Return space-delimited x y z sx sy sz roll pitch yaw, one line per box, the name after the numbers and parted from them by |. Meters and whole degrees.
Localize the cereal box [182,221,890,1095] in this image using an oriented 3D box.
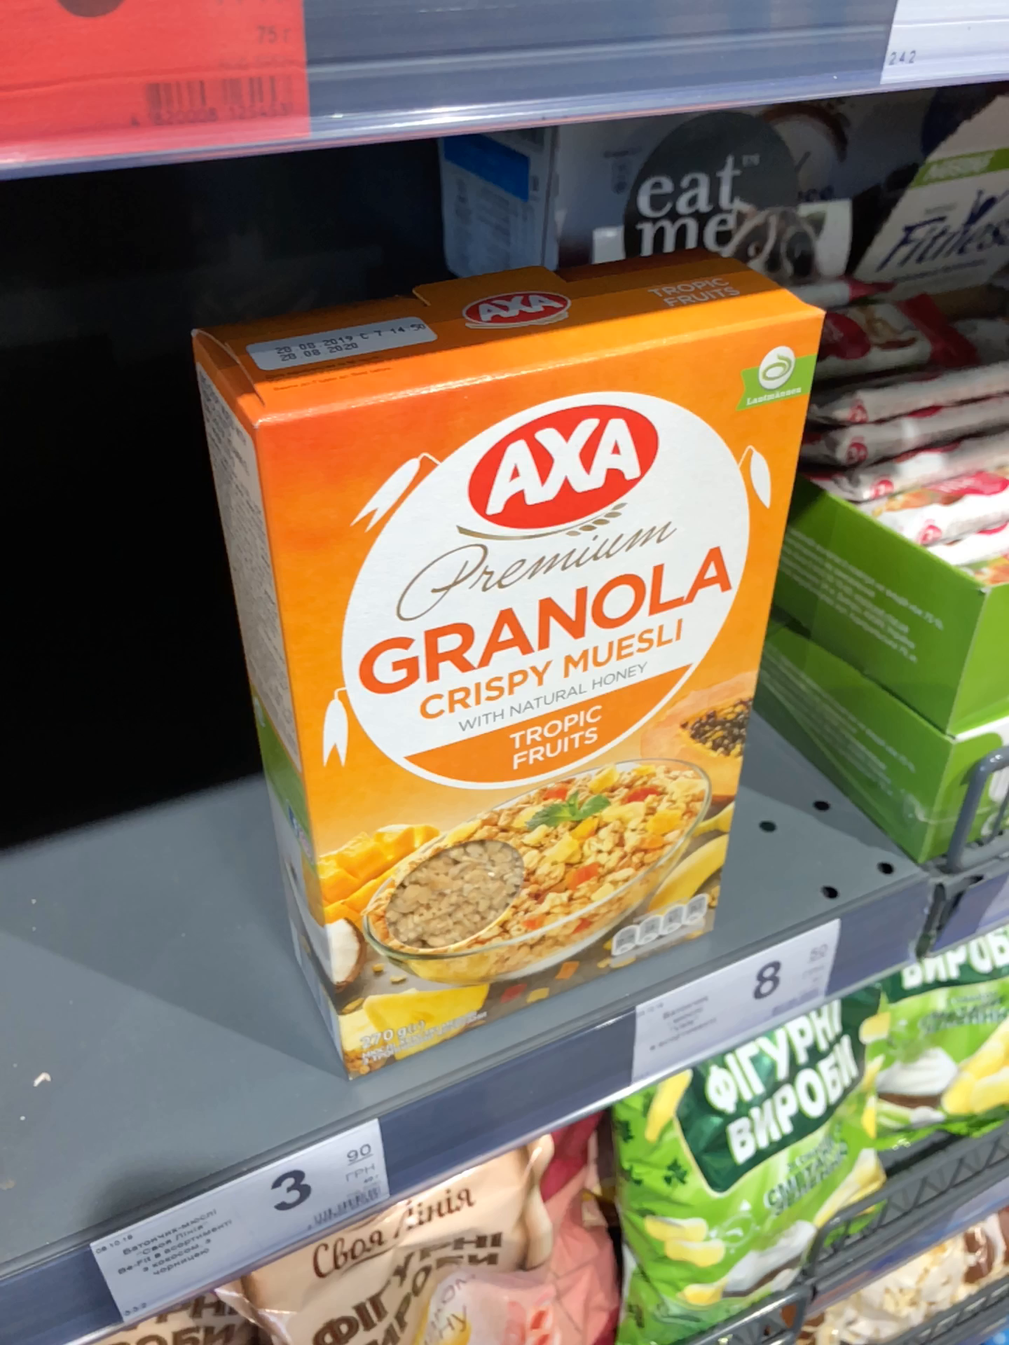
0.007 0.004 0.298 0.140 0.208 0.050 -17 42 -22 | cereal box
